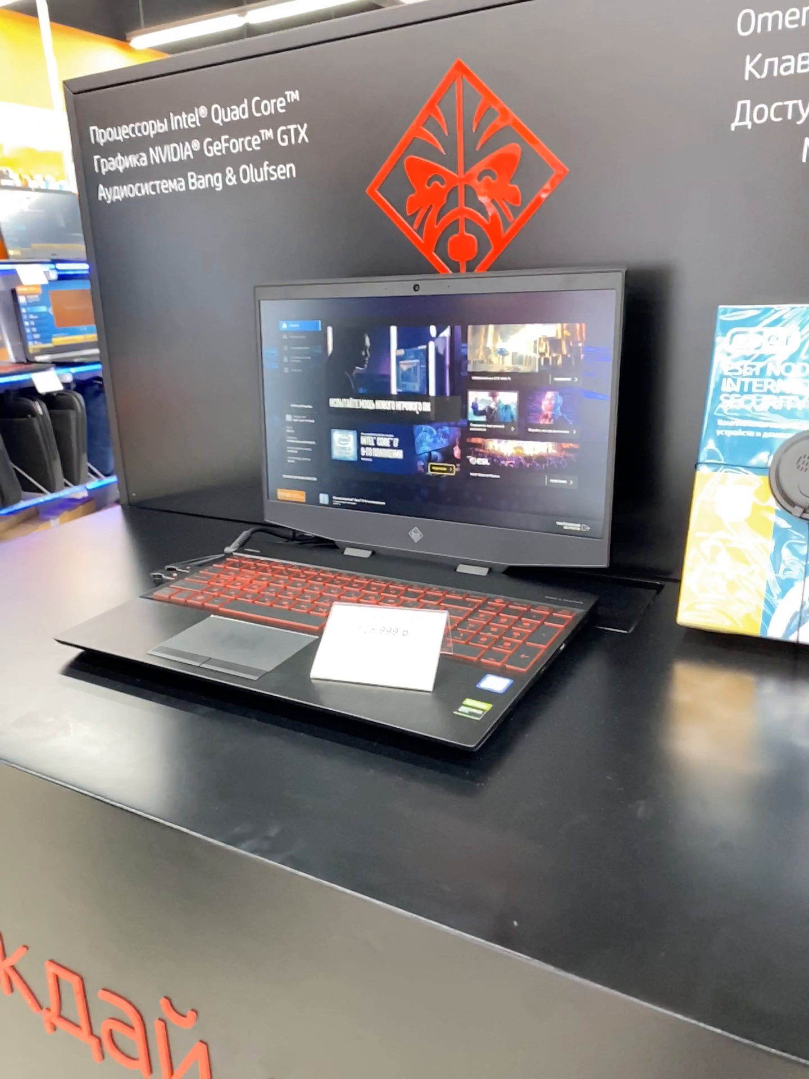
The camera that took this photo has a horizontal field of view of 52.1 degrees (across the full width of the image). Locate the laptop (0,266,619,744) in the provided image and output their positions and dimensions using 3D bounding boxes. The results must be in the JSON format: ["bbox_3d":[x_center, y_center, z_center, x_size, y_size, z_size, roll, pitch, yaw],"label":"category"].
[{"bbox_3d":[-0.054,-0.070,0.643,0.359,0.247,0.302,7,20,28],"label":"laptop"}]
